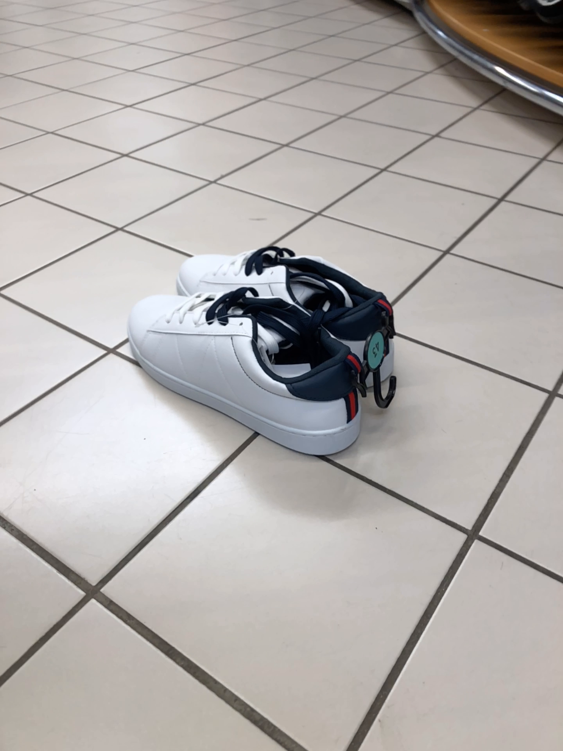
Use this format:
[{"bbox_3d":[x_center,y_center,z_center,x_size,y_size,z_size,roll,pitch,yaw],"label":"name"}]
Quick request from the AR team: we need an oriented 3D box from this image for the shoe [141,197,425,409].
[{"bbox_3d":[-0.007,-0.089,0.660,0.290,0.099,0.101,27,47,29],"label":"shoe"}]

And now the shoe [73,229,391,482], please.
[{"bbox_3d":[-0.054,-0.033,0.582,0.290,0.099,0.101,27,47,29],"label":"shoe"}]
